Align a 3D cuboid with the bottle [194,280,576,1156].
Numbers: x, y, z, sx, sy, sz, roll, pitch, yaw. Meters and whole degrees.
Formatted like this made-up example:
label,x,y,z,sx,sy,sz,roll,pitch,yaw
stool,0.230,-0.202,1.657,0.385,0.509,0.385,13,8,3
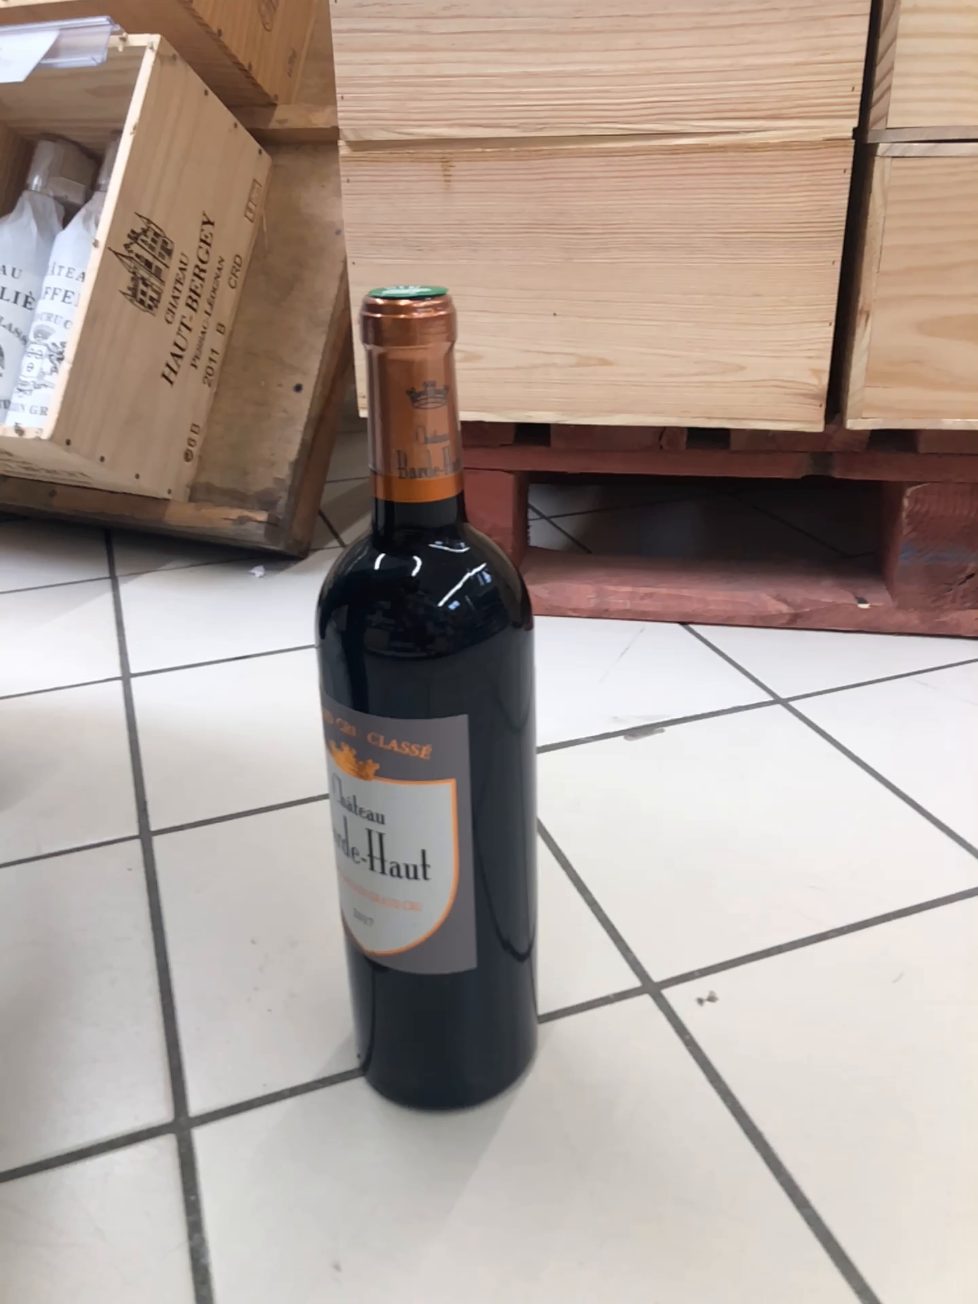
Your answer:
label,x,y,z,sx,sy,sz,roll,pitch,yaw
bottle,-0.028,0.027,0.379,0.080,0.288,0.080,-1,25,0
